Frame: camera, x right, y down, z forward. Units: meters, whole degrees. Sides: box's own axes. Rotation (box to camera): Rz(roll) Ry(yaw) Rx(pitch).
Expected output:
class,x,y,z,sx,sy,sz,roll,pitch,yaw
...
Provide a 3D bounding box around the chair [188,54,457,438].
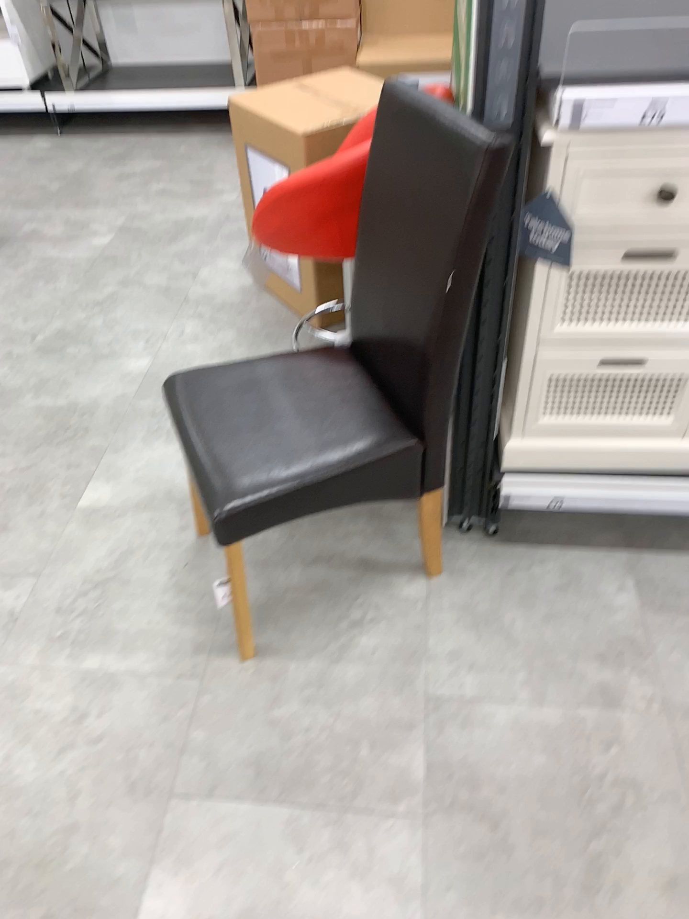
class,x,y,z,sx,sy,sz,roll,pitch,yaw
chair,-0.013,-0.526,1.768,0.456,0.773,0.429,12,44,17

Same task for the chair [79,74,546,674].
class,x,y,z,sx,sy,sz,roll,pitch,yaw
chair,-0.051,-0.122,1.303,0.556,0.912,0.429,-17,44,-14
